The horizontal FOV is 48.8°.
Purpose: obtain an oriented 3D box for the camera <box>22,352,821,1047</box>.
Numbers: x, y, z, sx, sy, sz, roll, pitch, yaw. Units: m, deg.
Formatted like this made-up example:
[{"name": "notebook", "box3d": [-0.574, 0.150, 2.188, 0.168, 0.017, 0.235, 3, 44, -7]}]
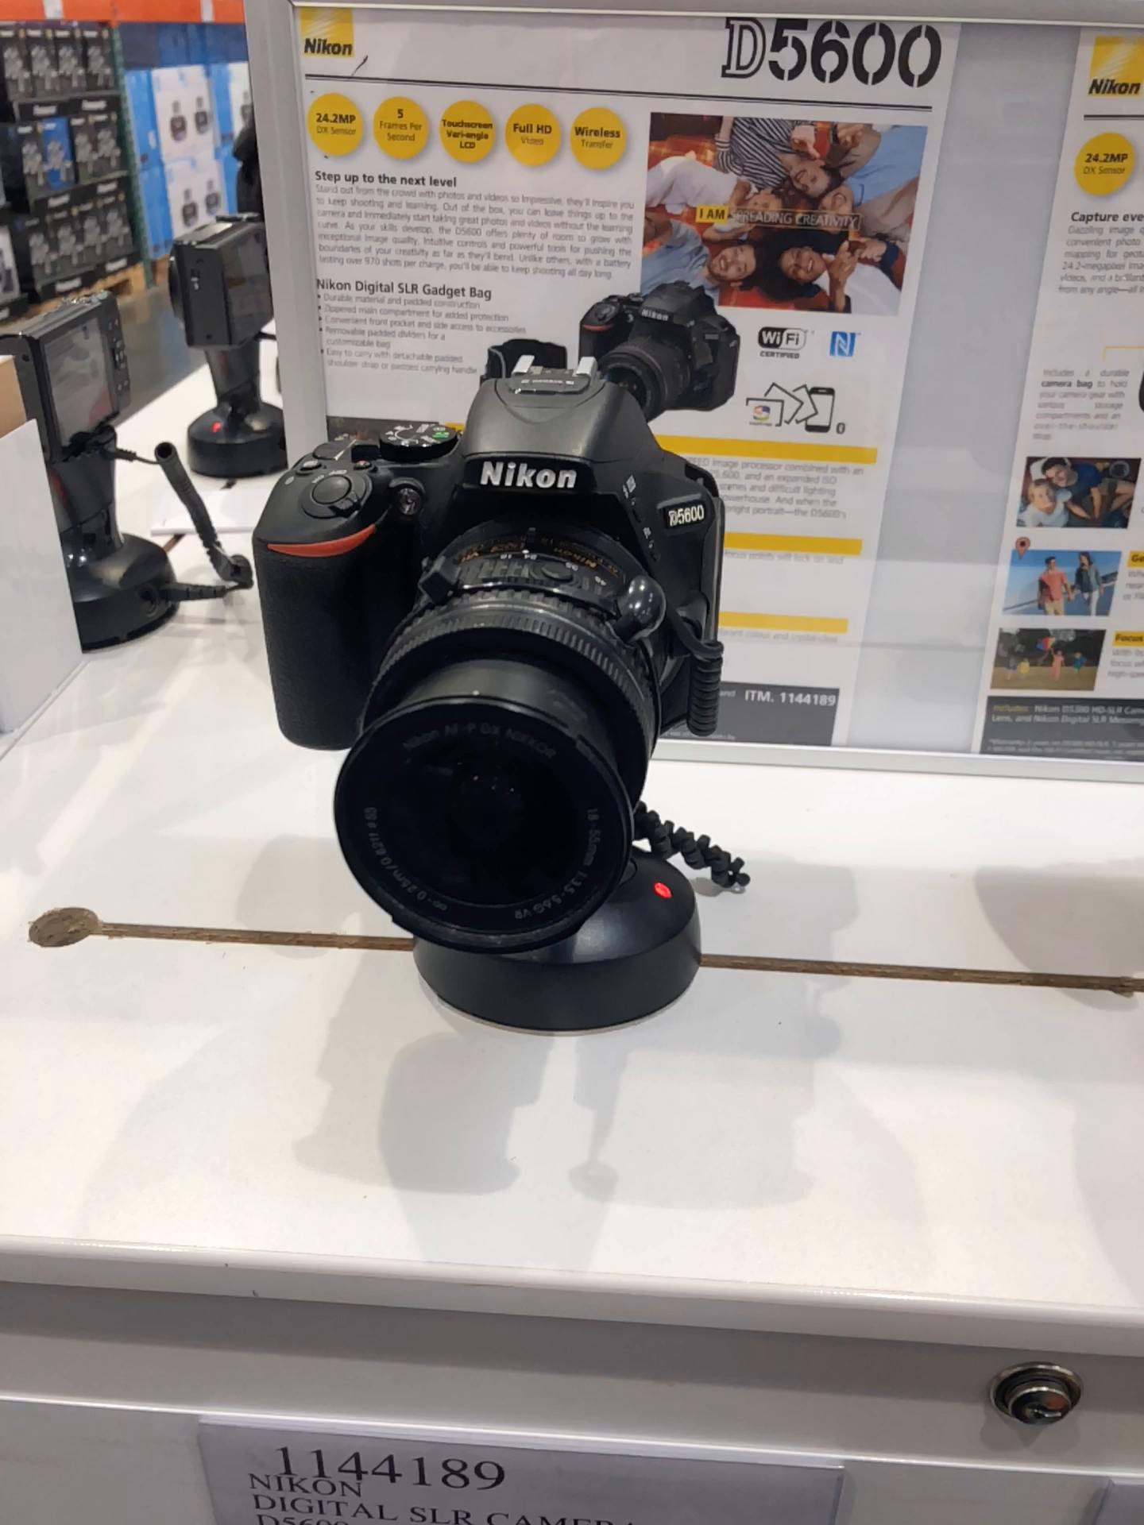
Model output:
[{"name": "camera", "box3d": [-0.020, -0.030, 0.311, 0.140, 0.099, 0.161, 4, 30, 5]}]
